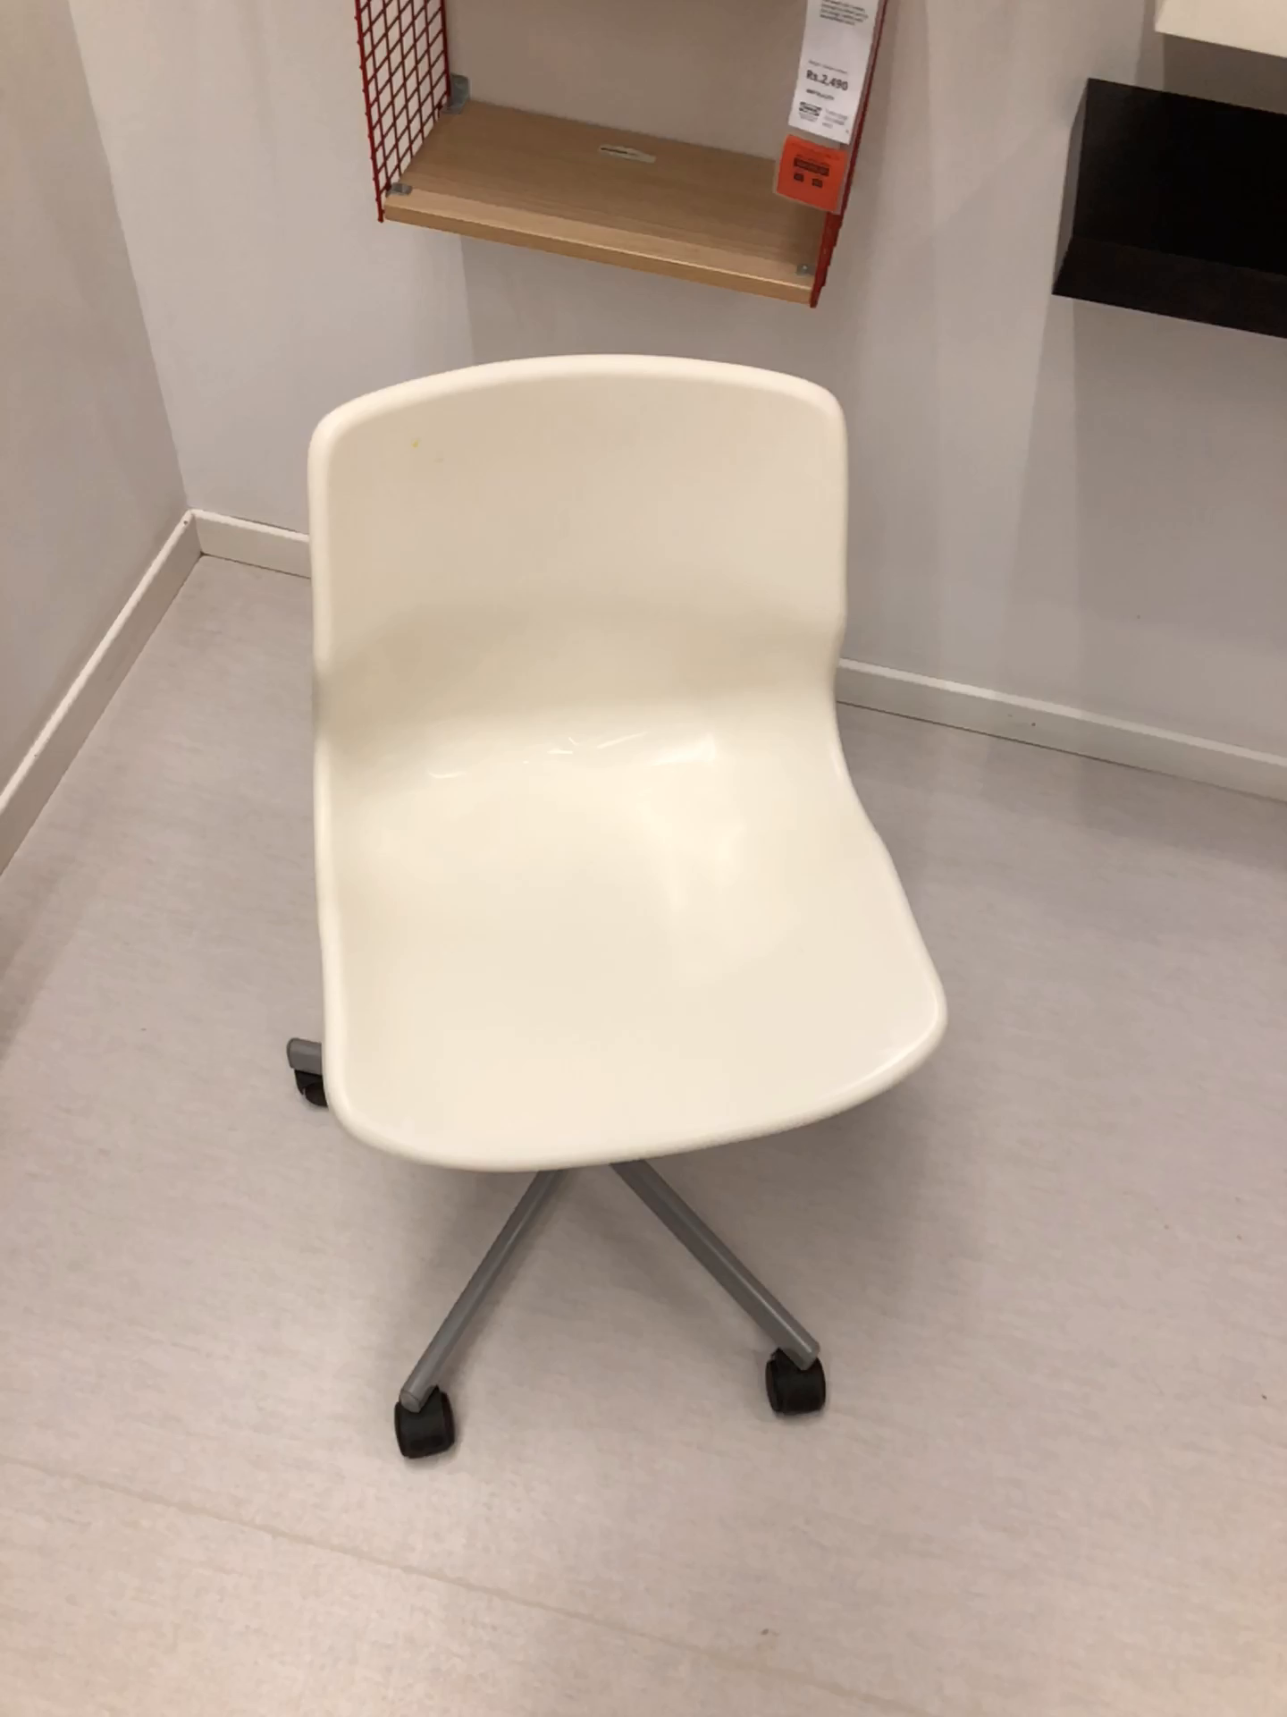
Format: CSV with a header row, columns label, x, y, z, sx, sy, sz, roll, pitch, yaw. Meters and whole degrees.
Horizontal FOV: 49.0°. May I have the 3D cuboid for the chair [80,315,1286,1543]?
label,x,y,z,sx,sy,sz,roll,pitch,yaw
chair,-0.019,0.079,1.107,0.620,0.686,0.623,-7,56,-10
